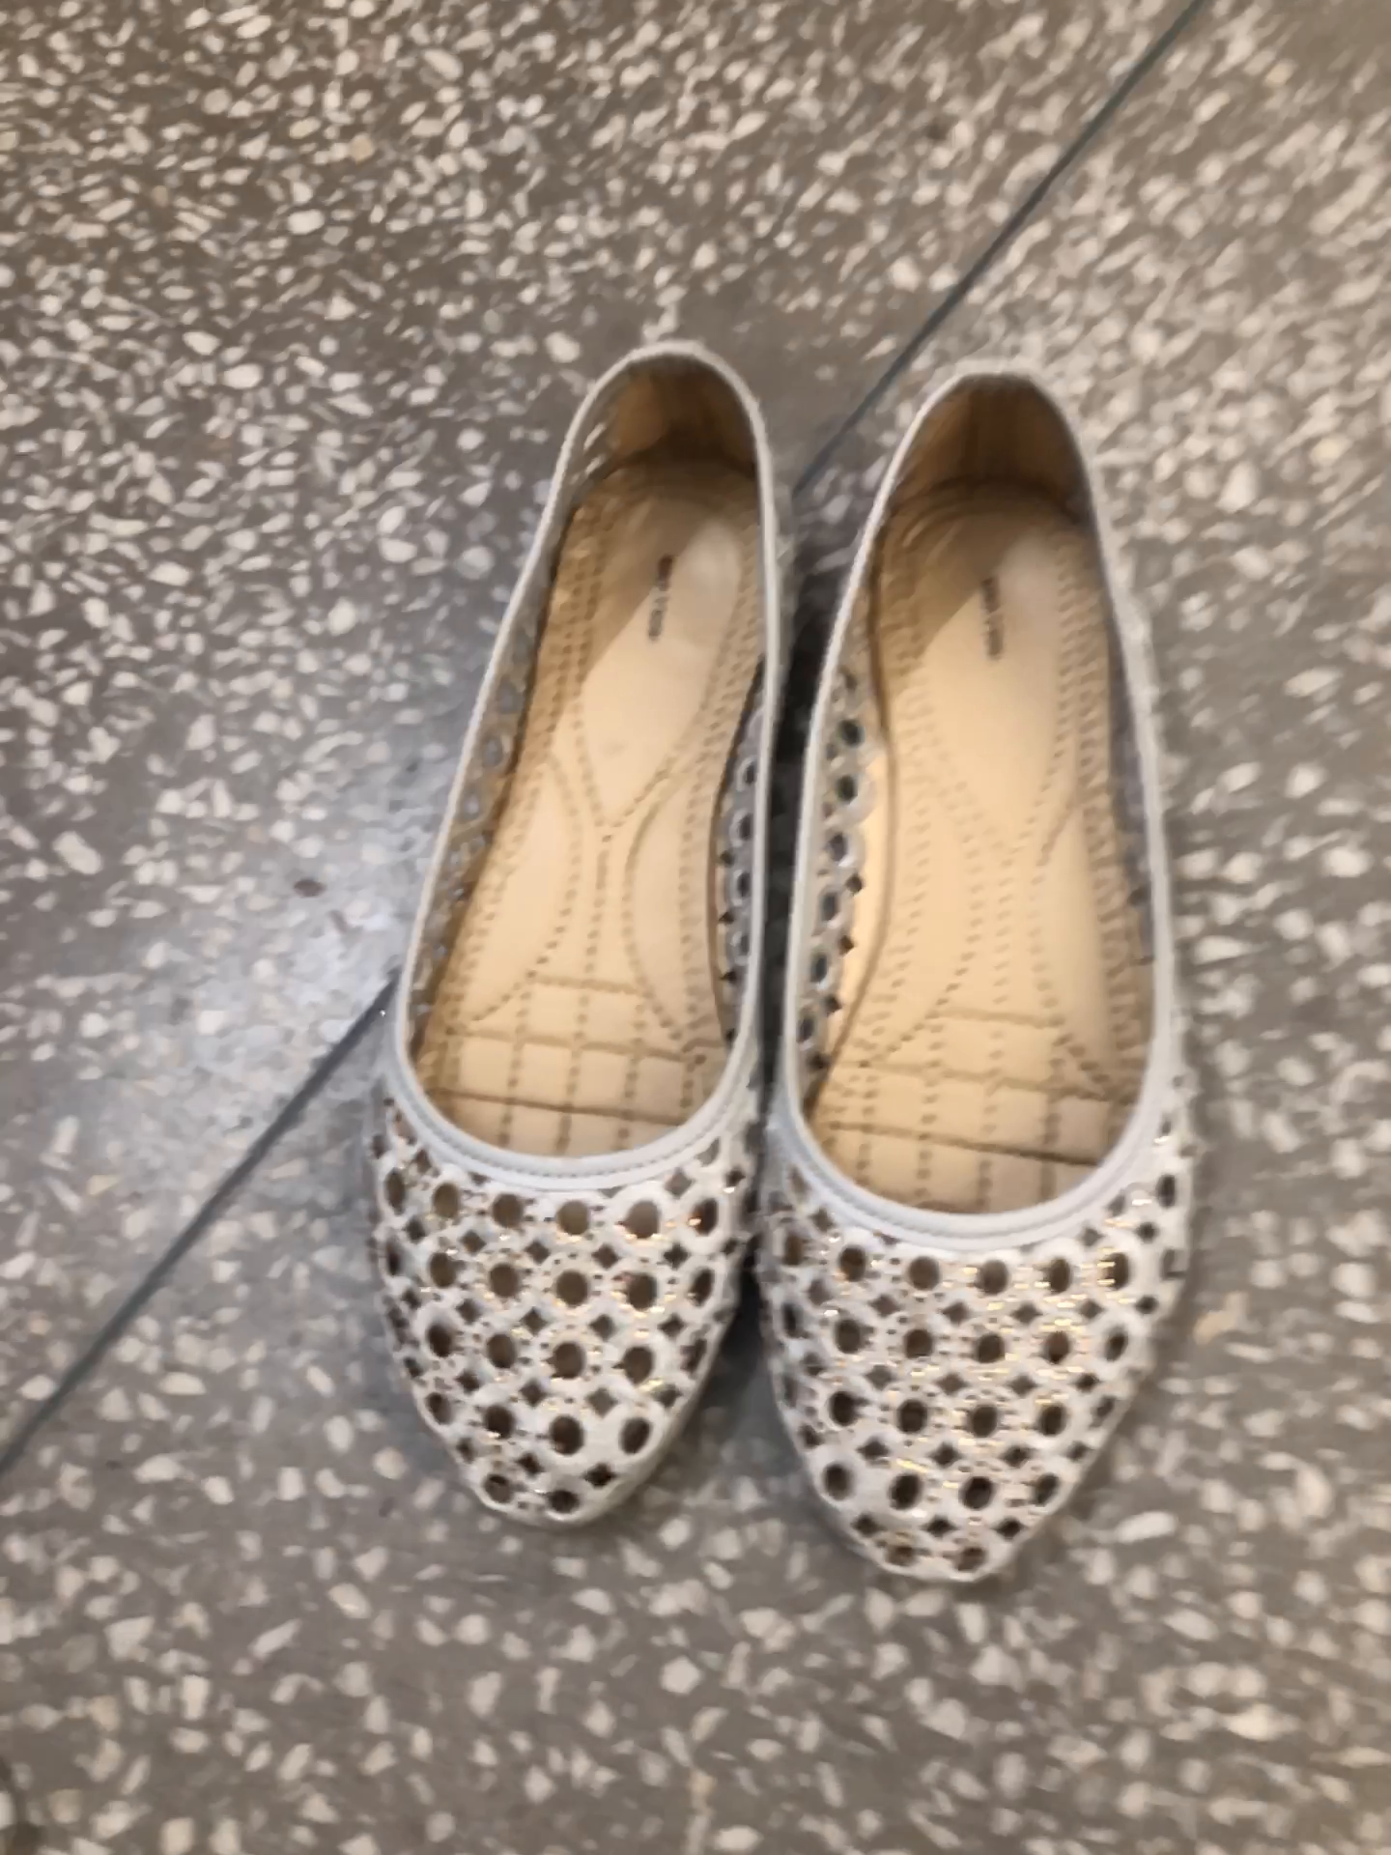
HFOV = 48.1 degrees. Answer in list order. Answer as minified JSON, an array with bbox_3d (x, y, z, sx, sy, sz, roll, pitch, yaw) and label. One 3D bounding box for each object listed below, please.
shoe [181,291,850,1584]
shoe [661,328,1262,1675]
[{"bbox_3d":[-0.024,-0.004,0.320,0.093,0.070,0.240,4,74,6],"label":"shoe"},{"bbox_3d":[0.056,0.007,0.312,0.093,0.070,0.240,4,74,6],"label":"shoe"}]
